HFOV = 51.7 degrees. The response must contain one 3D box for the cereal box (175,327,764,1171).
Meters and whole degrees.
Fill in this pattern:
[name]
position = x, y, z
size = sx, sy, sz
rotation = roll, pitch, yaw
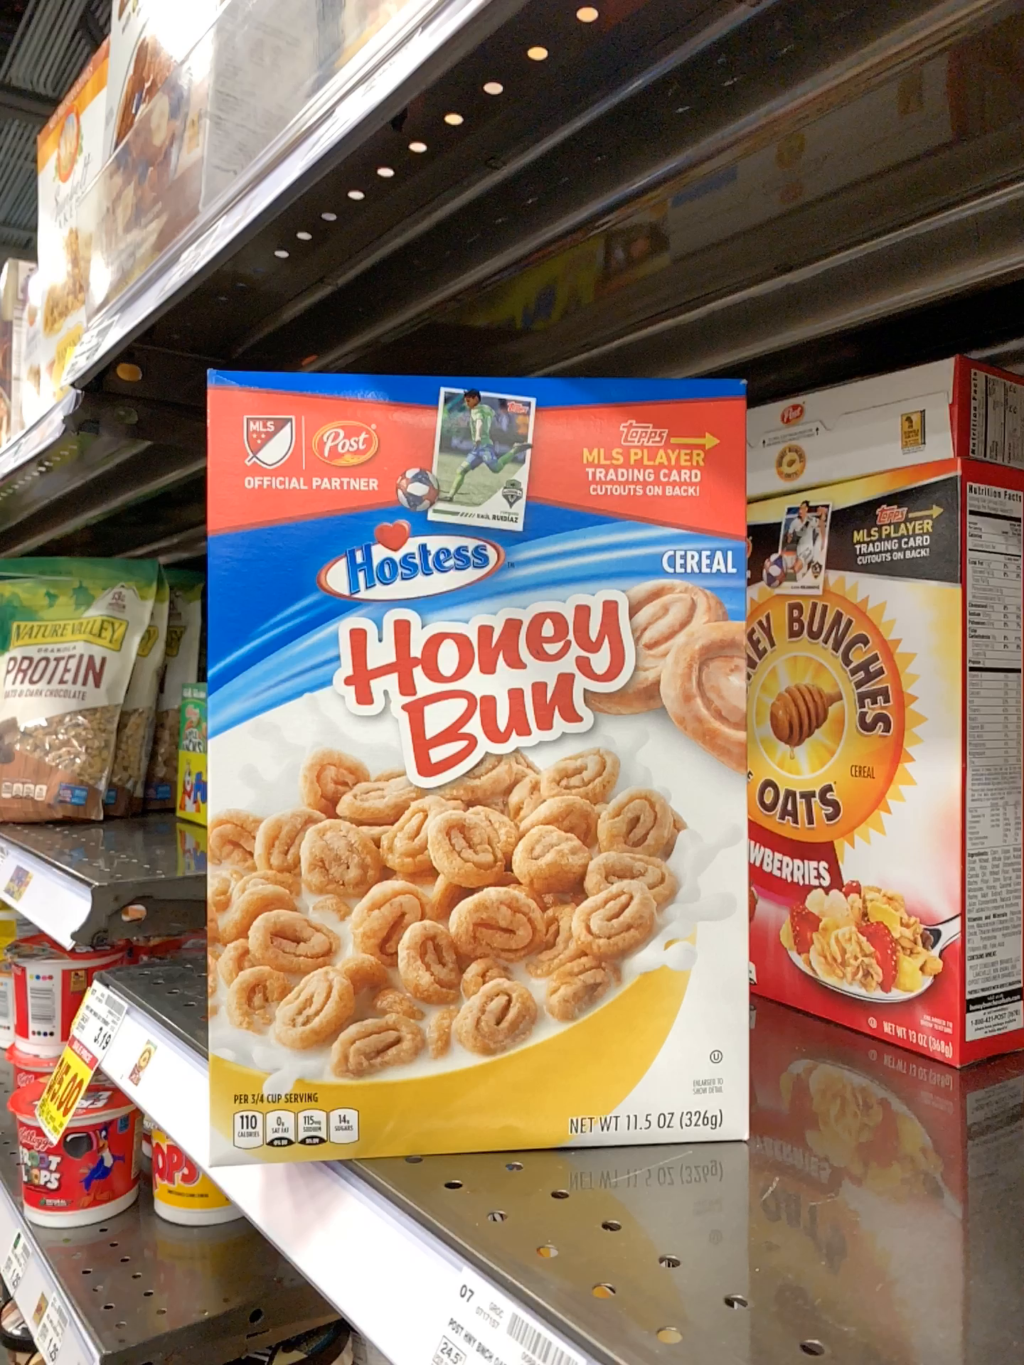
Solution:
[cereal box]
position = -0.015, 0.021, 0.392
size = 0.200, 0.280, 0.060
rotation = 0, -1, -6
